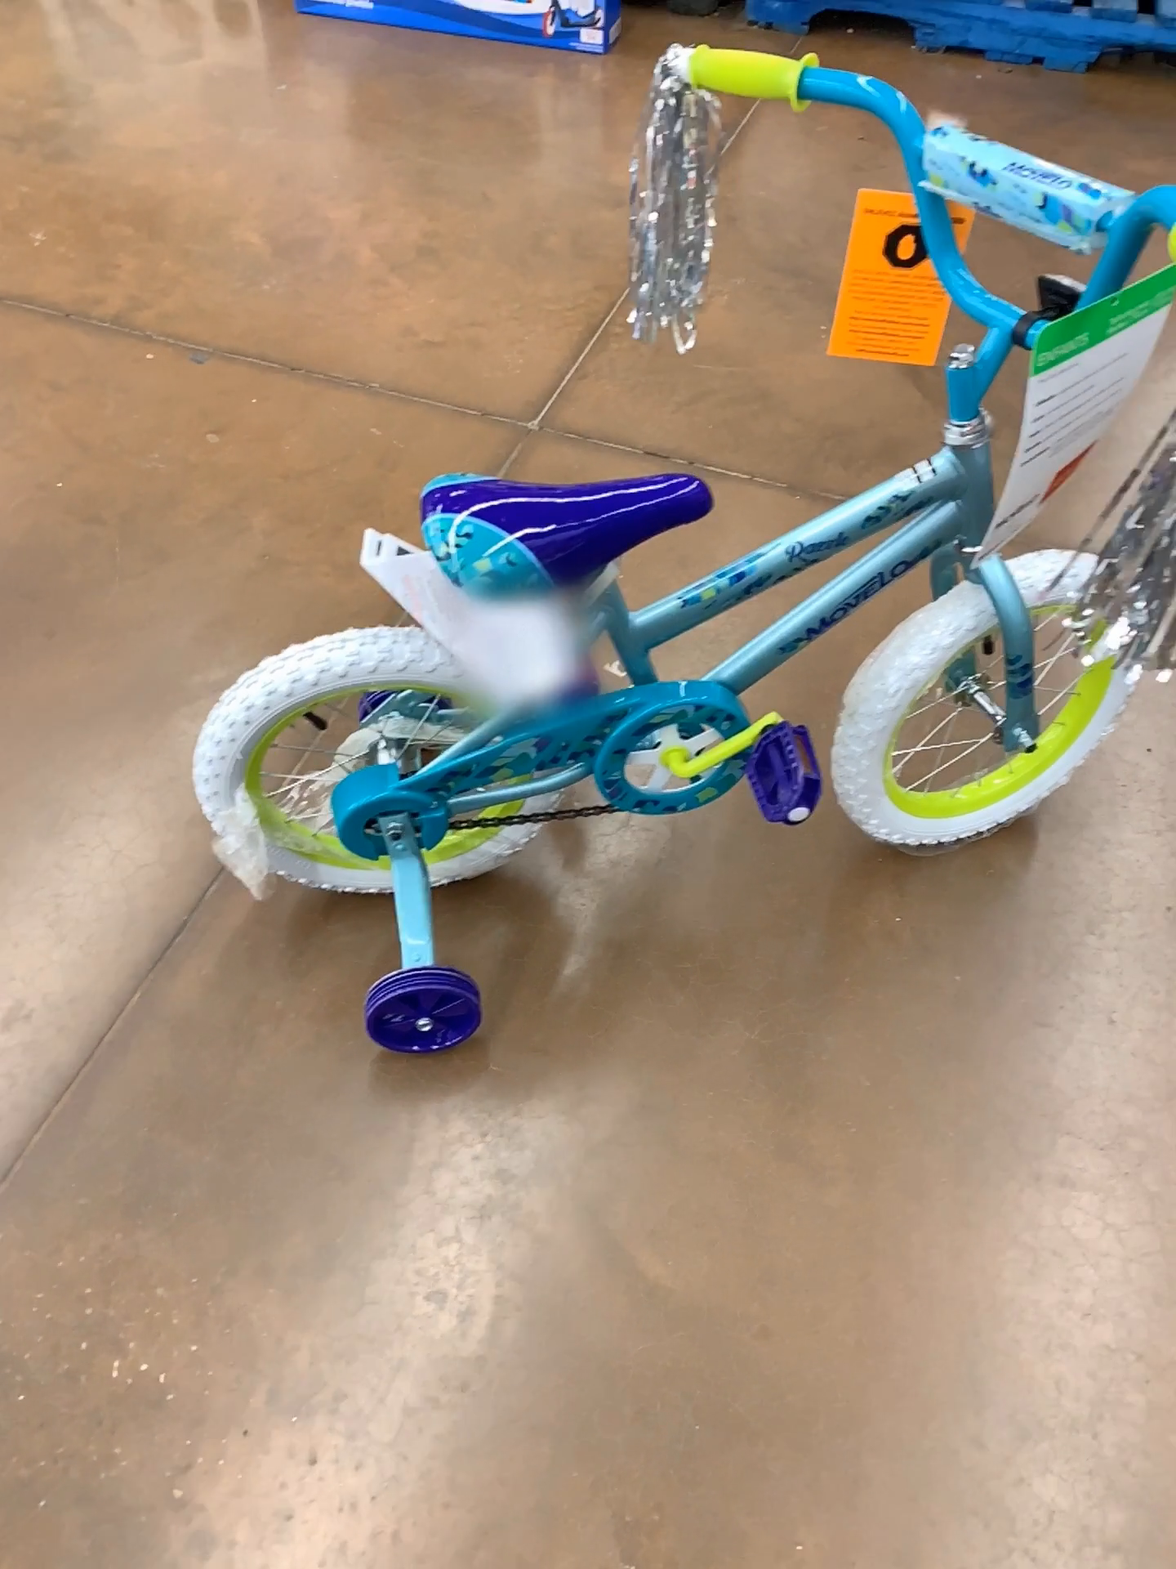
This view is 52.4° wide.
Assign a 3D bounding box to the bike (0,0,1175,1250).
[{"bbox_3d":[0.115,-0.157,0.935,0.859,0.639,0.625,-11,50,-11],"label":"bike"}]
